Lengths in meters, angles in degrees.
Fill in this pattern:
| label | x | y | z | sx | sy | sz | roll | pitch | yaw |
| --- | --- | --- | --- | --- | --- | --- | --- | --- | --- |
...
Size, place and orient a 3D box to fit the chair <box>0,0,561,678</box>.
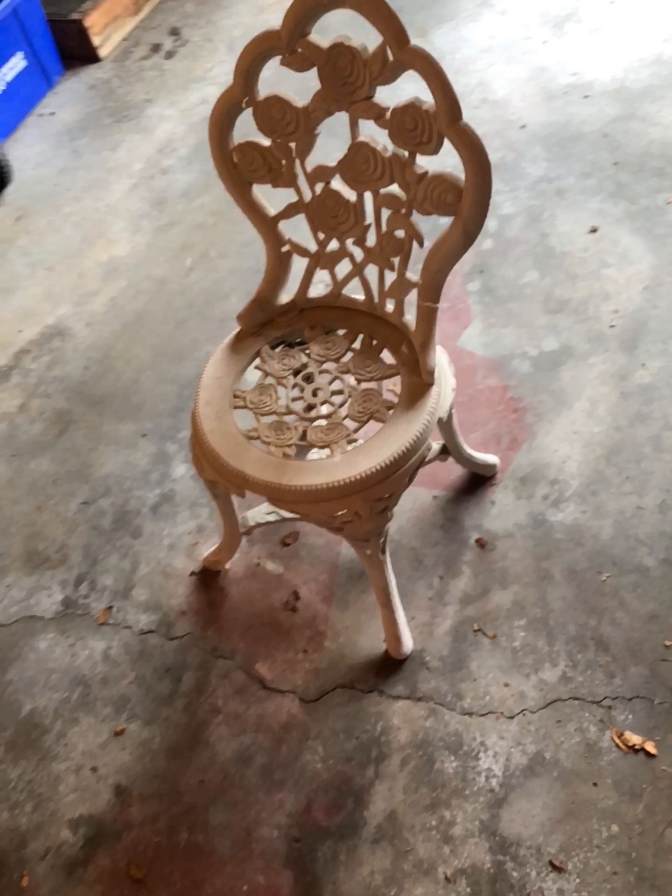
| label | x | y | z | sx | sy | sz | roll | pitch | yaw |
| --- | --- | --- | --- | --- | --- | --- | --- | --- | --- |
| chair | -0.020 | -0.123 | 1.116 | 0.491 | 0.899 | 0.500 | 19 | 62 | 23 |
